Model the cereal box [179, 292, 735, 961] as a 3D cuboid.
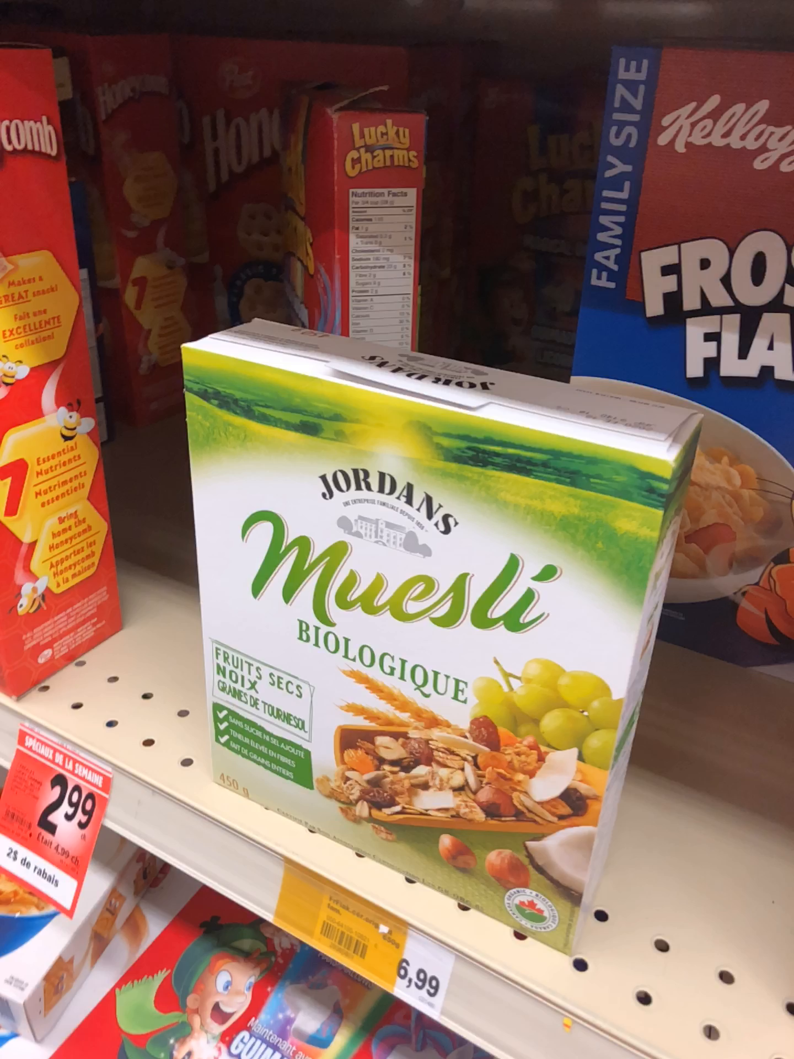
[{"bbox_3d":[0.010,0.037,0.343,0.180,0.218,0.050,17,32,24],"label":"cereal box"}]
